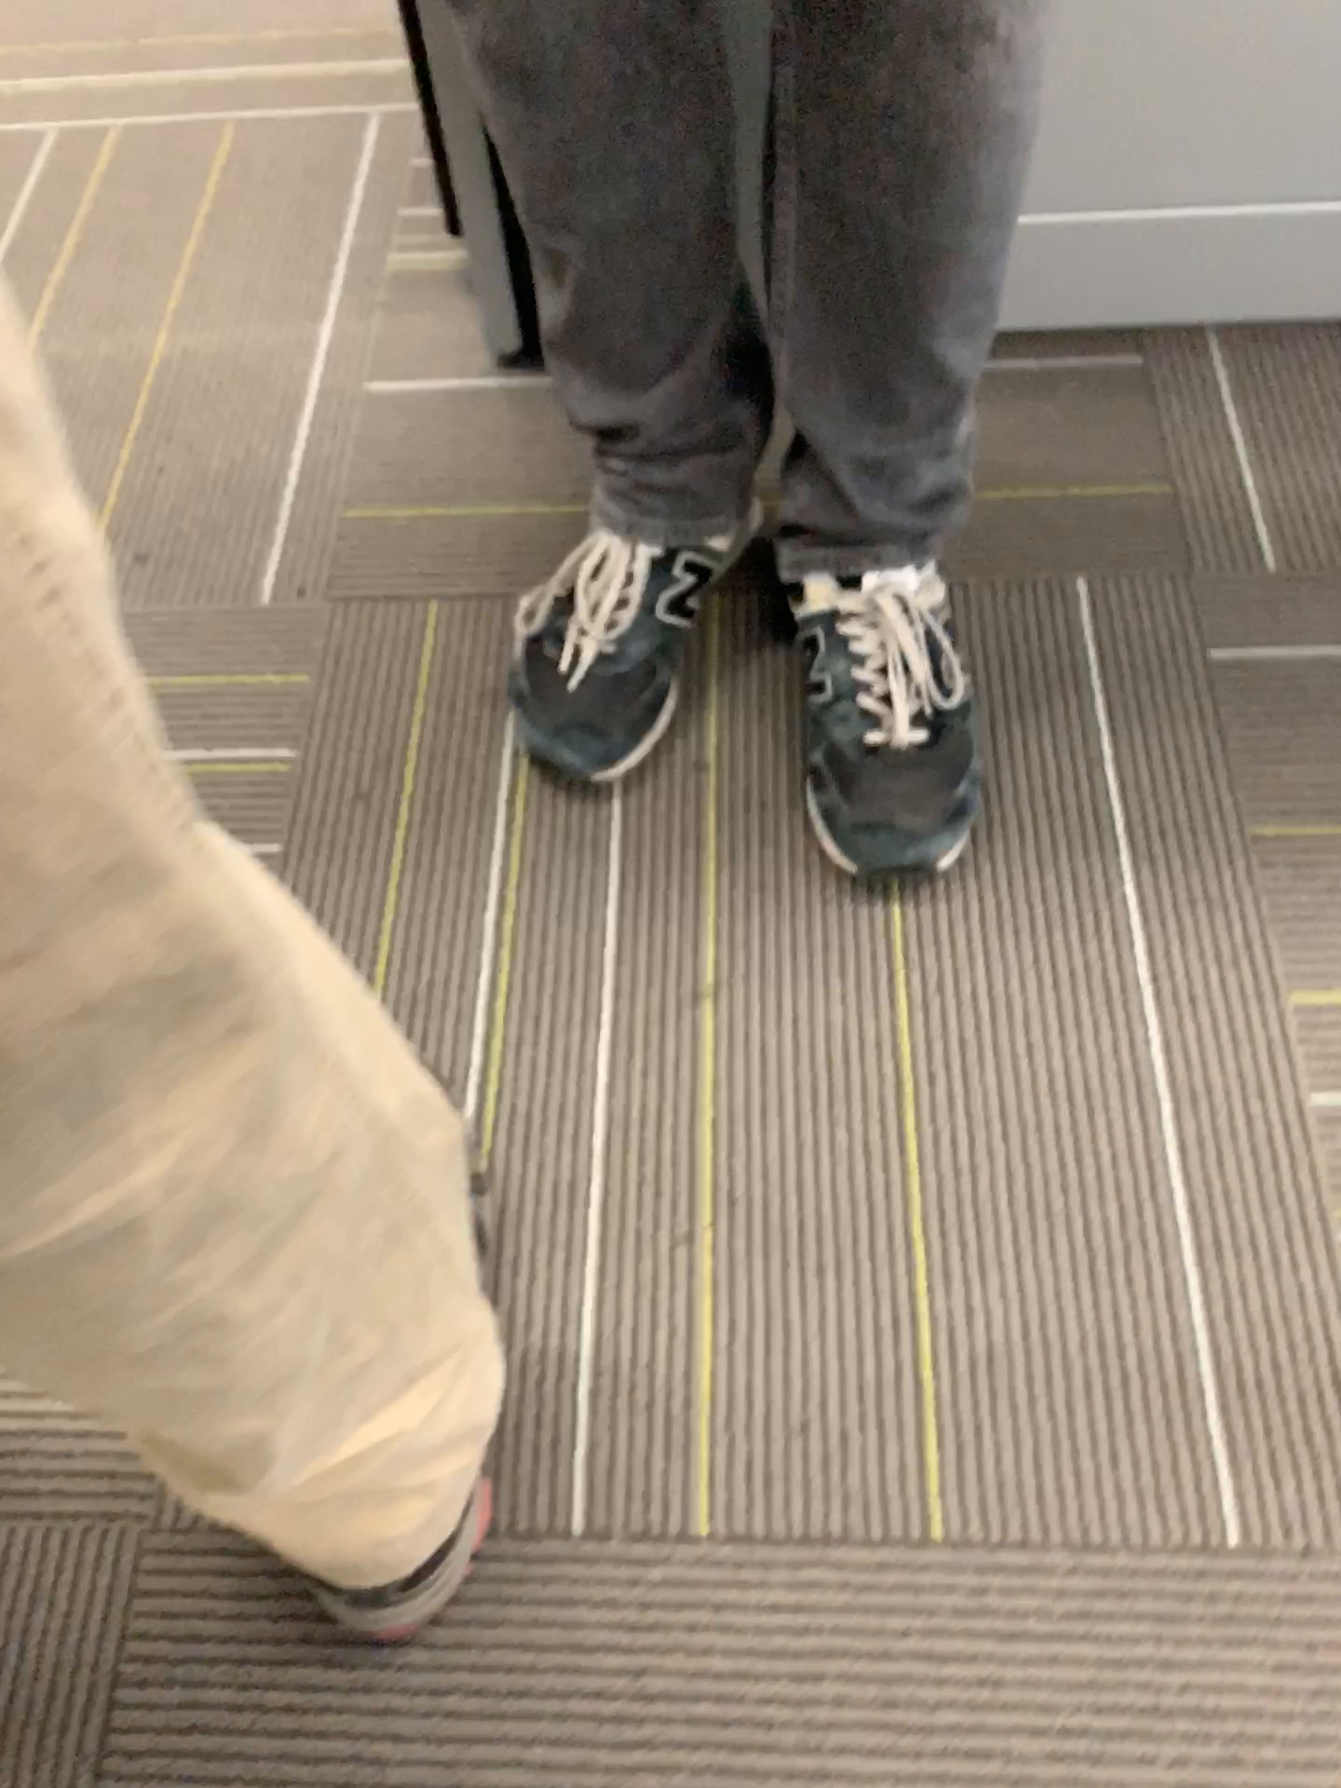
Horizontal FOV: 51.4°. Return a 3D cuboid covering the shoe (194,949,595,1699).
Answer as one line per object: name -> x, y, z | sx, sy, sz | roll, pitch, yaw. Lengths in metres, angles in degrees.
shoe -> -0.146, 0.204, 0.705 | 0.134, 0.087, 0.328 | -15, 59, -4

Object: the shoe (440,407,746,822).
shoe -> -0.042, -0.195, 0.941 | 0.138, 0.085, 0.280 | 8, 60, 9

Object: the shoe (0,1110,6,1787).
shoe -> -0.442, 0.285, 0.700 | 0.130, 0.087, 0.316 | -22, 59, -8

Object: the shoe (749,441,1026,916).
shoe -> 0.131, -0.148, 0.911 | 0.131, 0.087, 0.316 | -5, 58, 2
